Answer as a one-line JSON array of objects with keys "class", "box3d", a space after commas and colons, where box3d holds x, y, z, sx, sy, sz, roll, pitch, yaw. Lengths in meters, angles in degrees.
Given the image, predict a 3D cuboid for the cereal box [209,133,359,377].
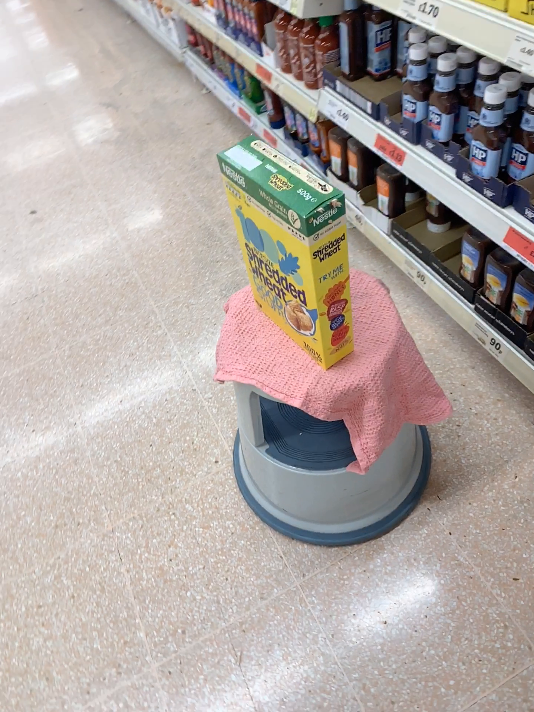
[{"class": "cereal box", "box3d": [0.031, -0.136, 0.775, 0.070, 0.278, 0.212, -31, 51, -13]}]
